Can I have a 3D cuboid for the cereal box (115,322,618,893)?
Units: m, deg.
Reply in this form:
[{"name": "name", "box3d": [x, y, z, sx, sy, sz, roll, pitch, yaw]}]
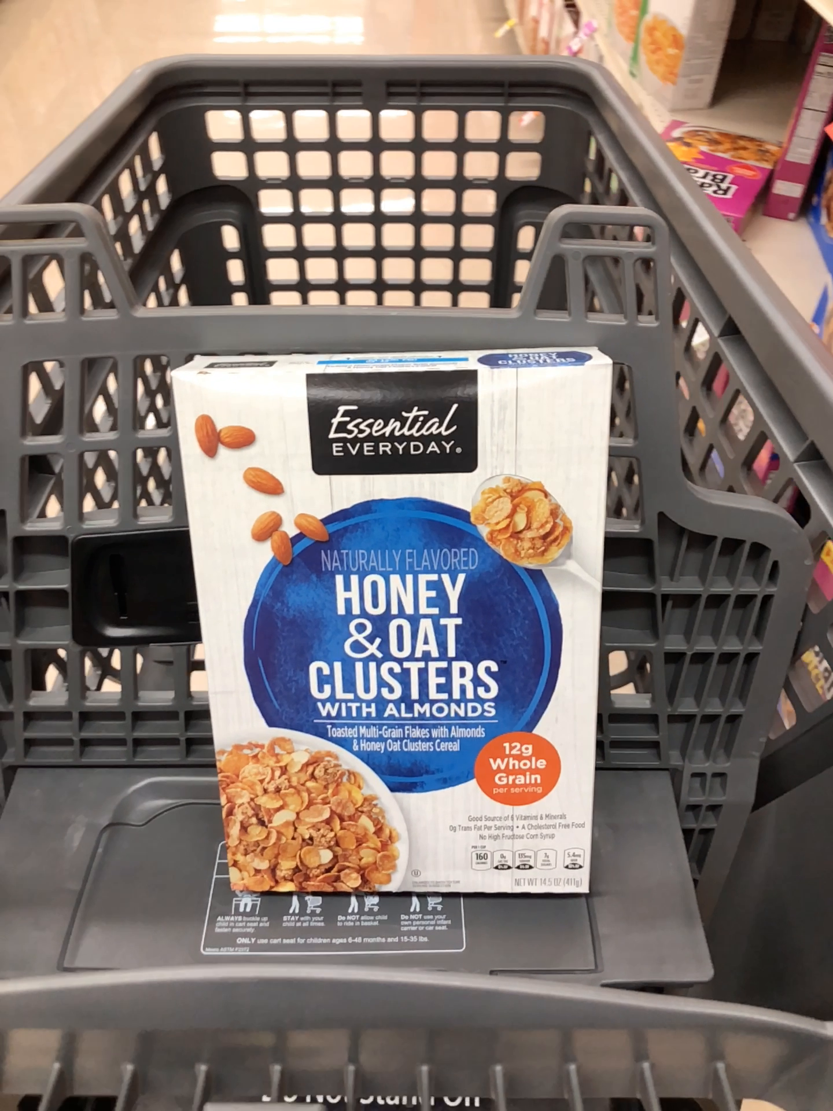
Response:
[{"name": "cereal box", "box3d": [-0.018, 0.032, 0.458, 0.210, 0.280, 0.060, 0, 20, 2]}]
